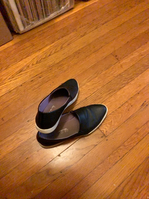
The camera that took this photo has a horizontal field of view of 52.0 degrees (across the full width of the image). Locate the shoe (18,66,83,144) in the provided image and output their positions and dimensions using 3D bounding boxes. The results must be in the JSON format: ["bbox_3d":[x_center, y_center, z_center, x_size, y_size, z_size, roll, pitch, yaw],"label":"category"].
[{"bbox_3d":[-0.062,0.002,0.494,0.100,0.080,0.250,19,45,7],"label":"shoe"}]

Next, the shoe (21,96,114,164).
[{"bbox_3d":[-0.019,0.097,0.491,0.260,0.080,0.100,-23,68,-11],"label":"shoe"}]
